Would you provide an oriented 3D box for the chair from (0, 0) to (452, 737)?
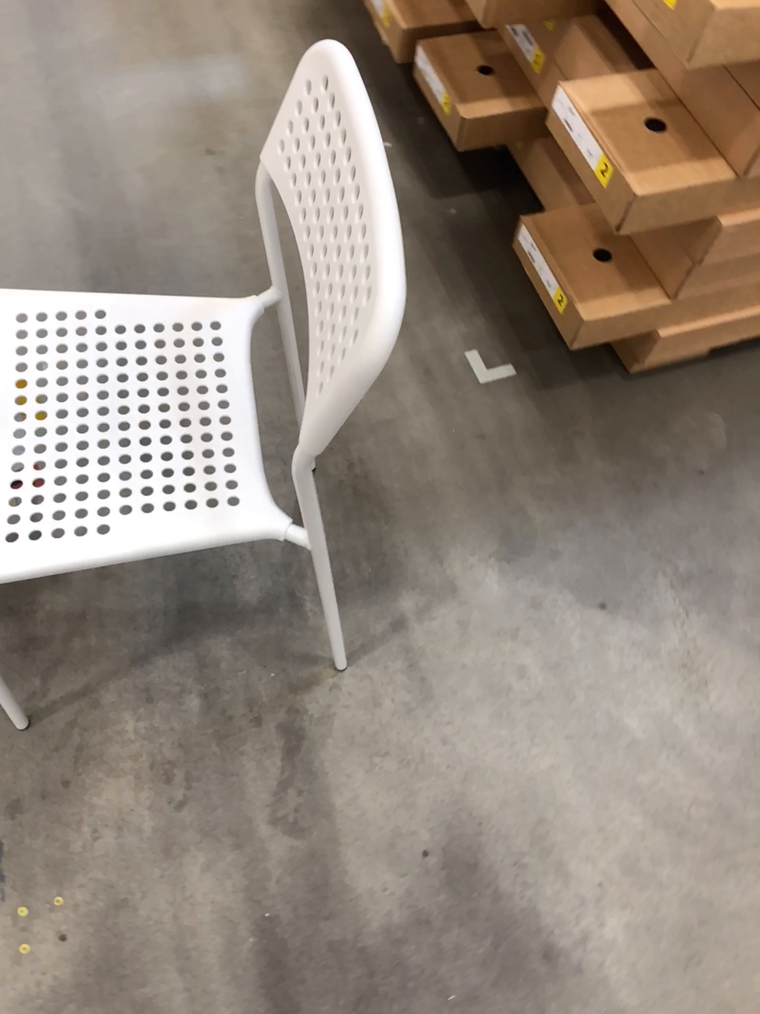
[{"bbox_3d":[-0.271,-0.092,0.920,0.510,0.699,0.461,-4,62,-9],"label":"chair"}]
